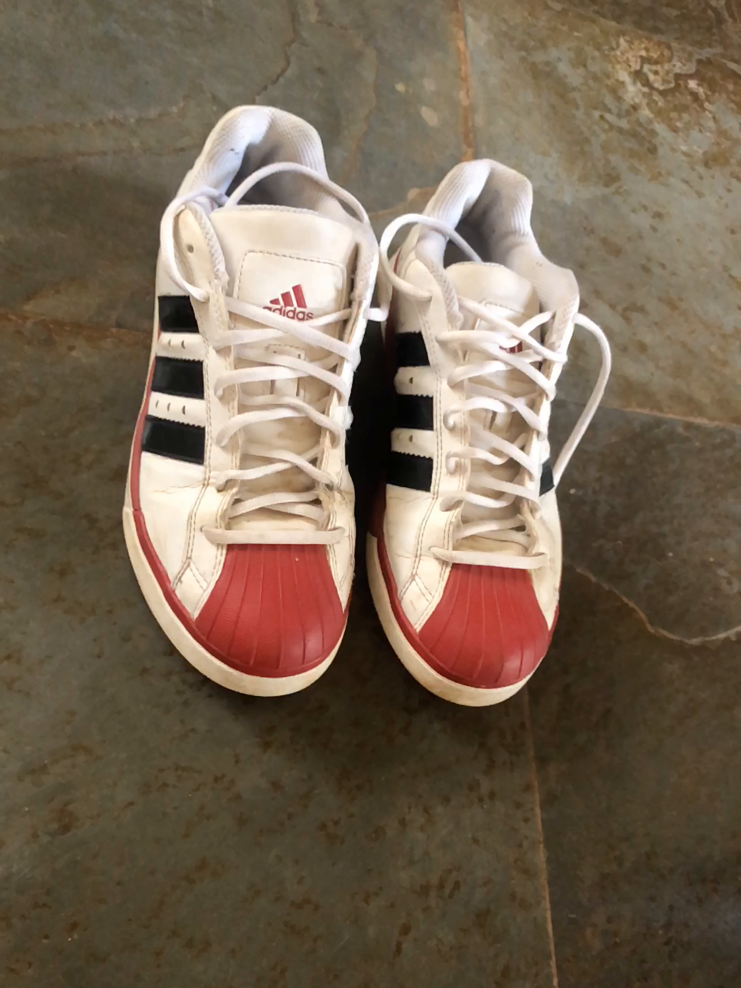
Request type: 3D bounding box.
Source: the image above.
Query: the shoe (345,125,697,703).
[{"bbox_3d":[0.060,-0.038,0.427,0.110,0.109,0.271,6,65,-19],"label":"shoe"}]

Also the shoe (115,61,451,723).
[{"bbox_3d":[-0.056,-0.043,0.390,0.110,0.129,0.271,3,65,-20],"label":"shoe"}]
